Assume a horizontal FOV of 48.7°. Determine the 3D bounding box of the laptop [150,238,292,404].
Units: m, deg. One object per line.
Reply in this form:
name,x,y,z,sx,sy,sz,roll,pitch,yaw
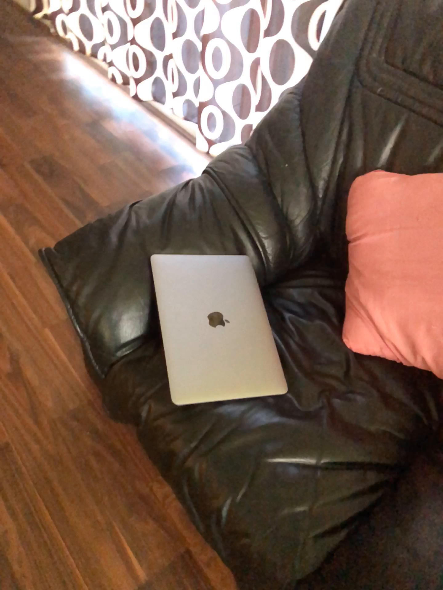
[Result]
laptop,-0.007,0.028,0.783,0.185,0.036,0.265,0,57,-21
